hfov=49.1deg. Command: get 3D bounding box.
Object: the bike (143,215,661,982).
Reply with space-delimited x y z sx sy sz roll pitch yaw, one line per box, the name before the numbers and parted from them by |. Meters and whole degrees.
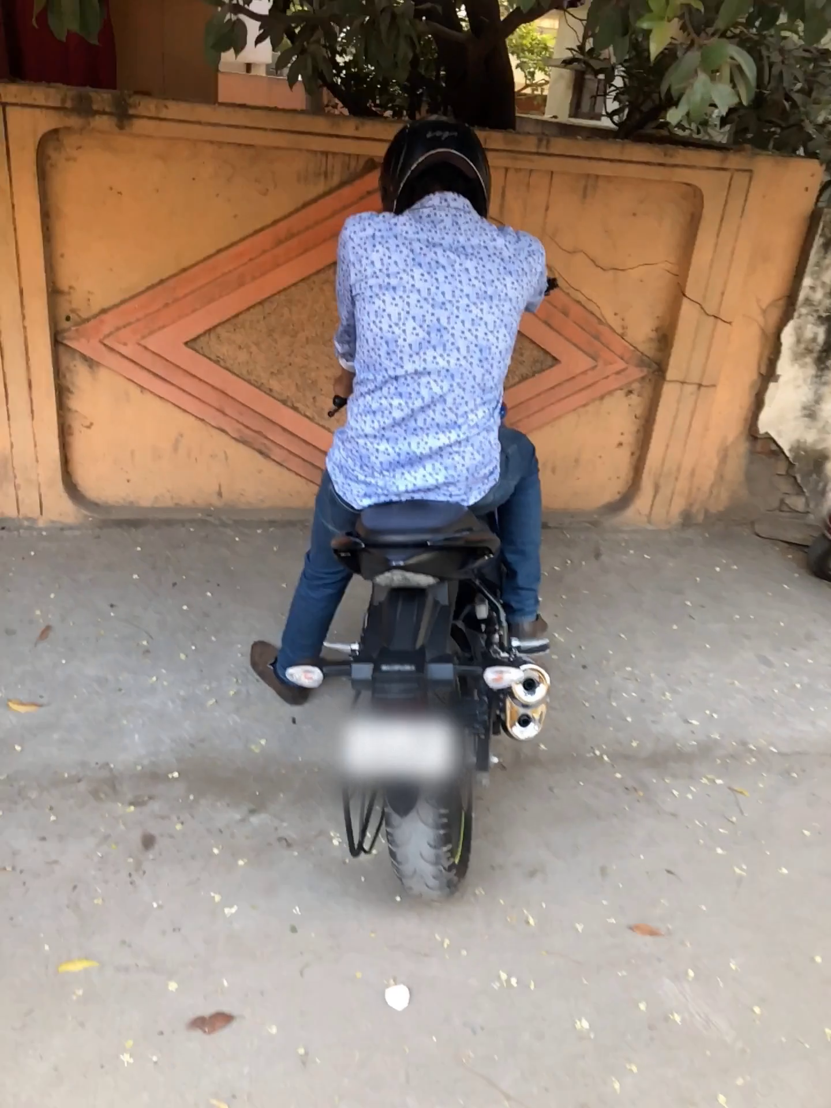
bike | -0.096 -0.131 2.490 0.793 1.187 1.901 5 27 -2
